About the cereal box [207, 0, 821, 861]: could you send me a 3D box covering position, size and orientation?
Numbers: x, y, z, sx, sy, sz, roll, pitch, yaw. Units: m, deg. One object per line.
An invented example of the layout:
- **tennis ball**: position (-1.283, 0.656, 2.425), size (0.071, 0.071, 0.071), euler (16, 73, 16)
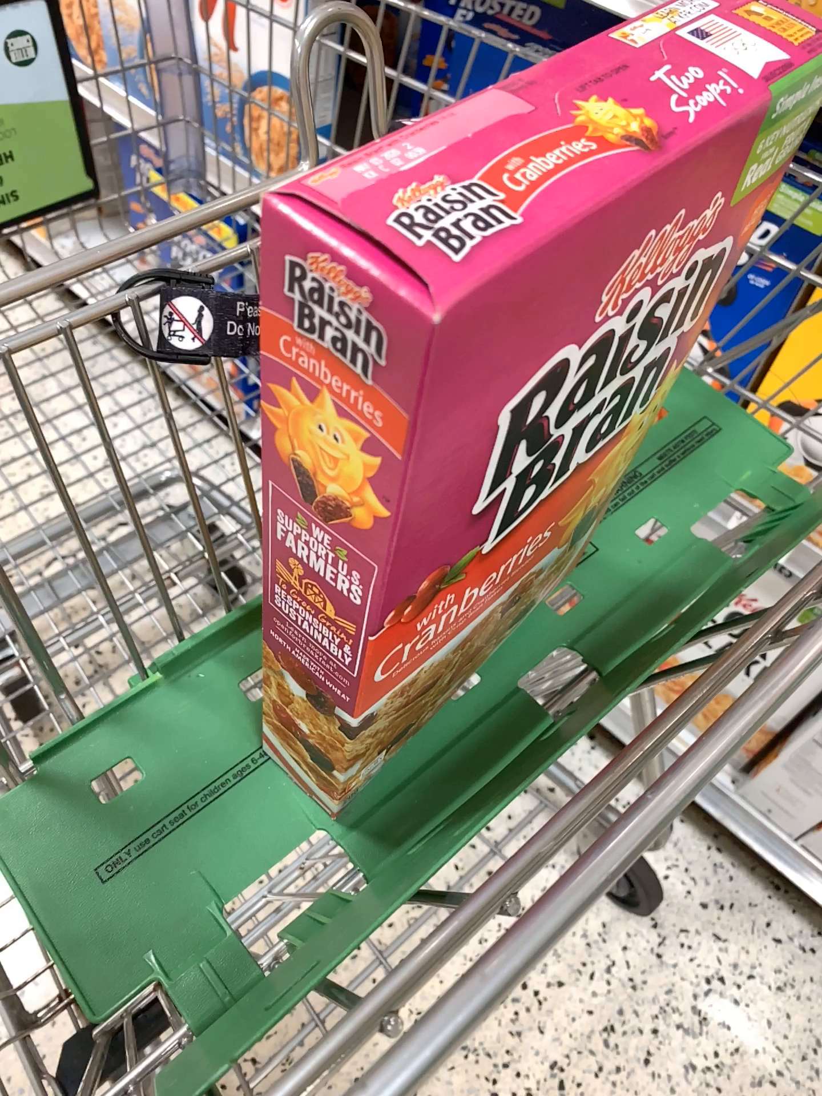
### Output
- **cereal box**: position (0.024, -0.016, 0.342), size (0.050, 0.327, 0.211), euler (39, 57, 17)
